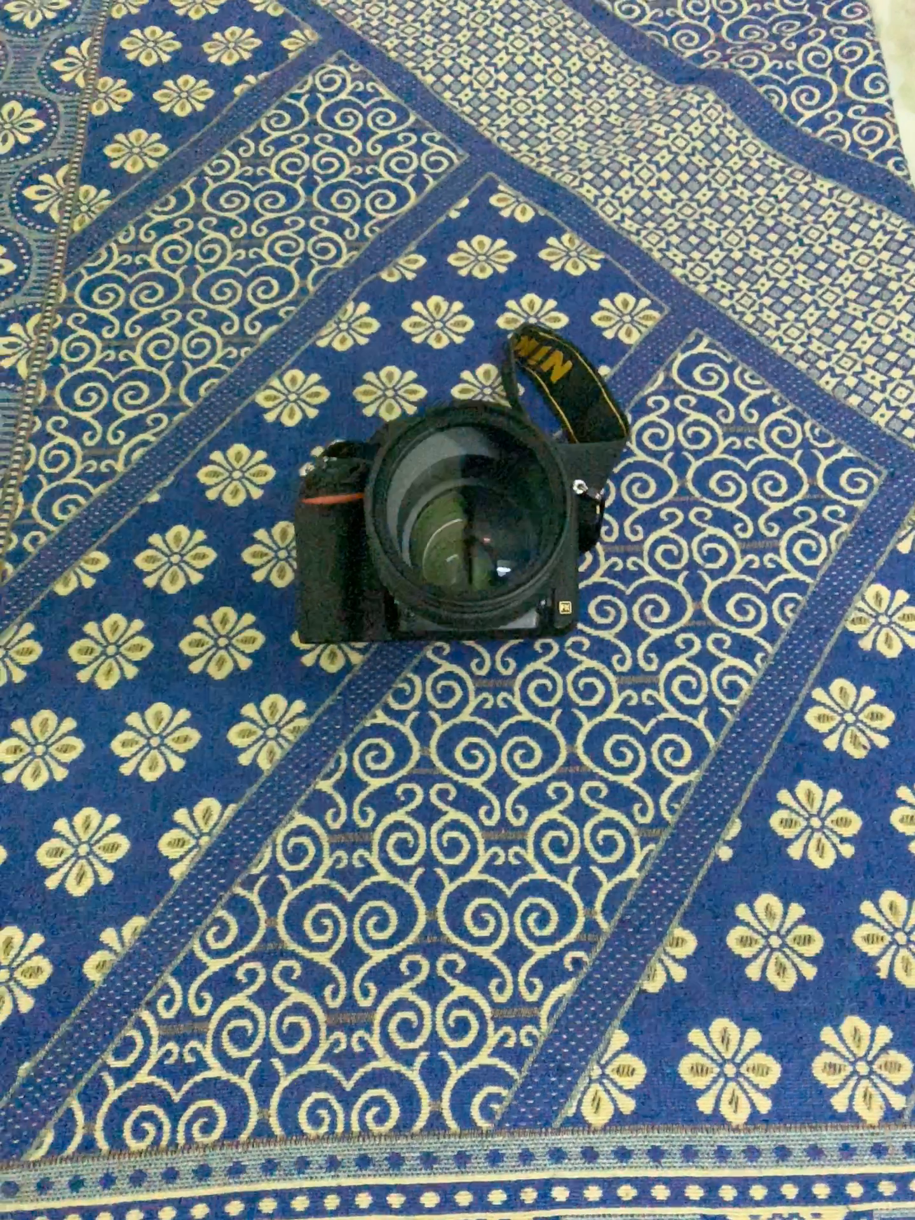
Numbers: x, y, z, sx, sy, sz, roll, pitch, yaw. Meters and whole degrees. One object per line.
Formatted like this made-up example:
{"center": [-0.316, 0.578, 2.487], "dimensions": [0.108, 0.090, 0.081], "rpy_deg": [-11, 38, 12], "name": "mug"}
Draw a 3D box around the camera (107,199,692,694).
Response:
{"center": [-0.017, -0.041, 0.362], "dimensions": [0.160, 0.191, 0.130], "rpy_deg": [-1, 80, 0], "name": "camera"}
